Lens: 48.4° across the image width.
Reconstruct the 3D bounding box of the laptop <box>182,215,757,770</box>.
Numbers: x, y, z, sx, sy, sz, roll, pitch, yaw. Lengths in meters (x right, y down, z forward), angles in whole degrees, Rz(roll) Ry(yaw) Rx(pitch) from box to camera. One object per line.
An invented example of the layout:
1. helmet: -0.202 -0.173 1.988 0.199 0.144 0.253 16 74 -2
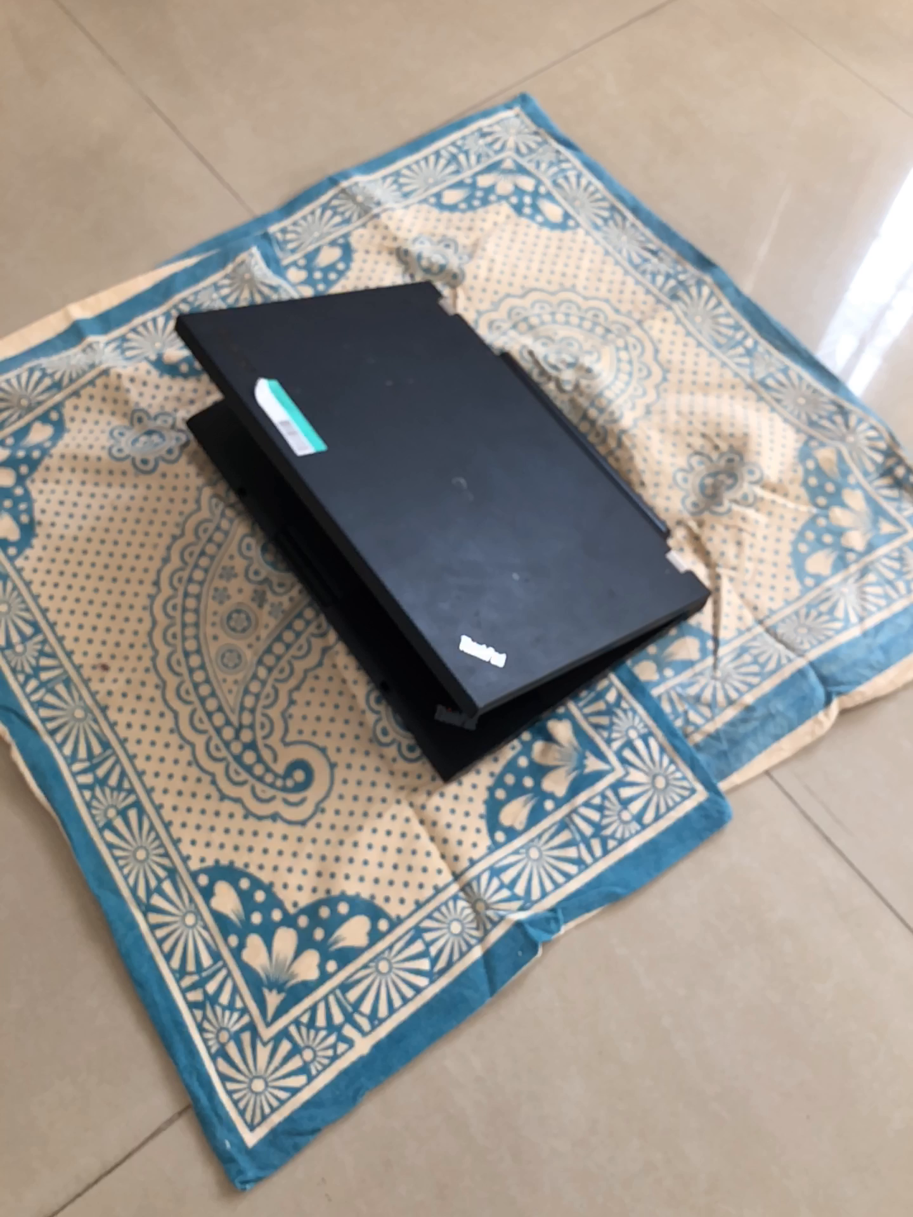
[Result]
1. laptop: -0.003 -0.100 0.743 0.241 0.125 0.348 -30 64 -16
